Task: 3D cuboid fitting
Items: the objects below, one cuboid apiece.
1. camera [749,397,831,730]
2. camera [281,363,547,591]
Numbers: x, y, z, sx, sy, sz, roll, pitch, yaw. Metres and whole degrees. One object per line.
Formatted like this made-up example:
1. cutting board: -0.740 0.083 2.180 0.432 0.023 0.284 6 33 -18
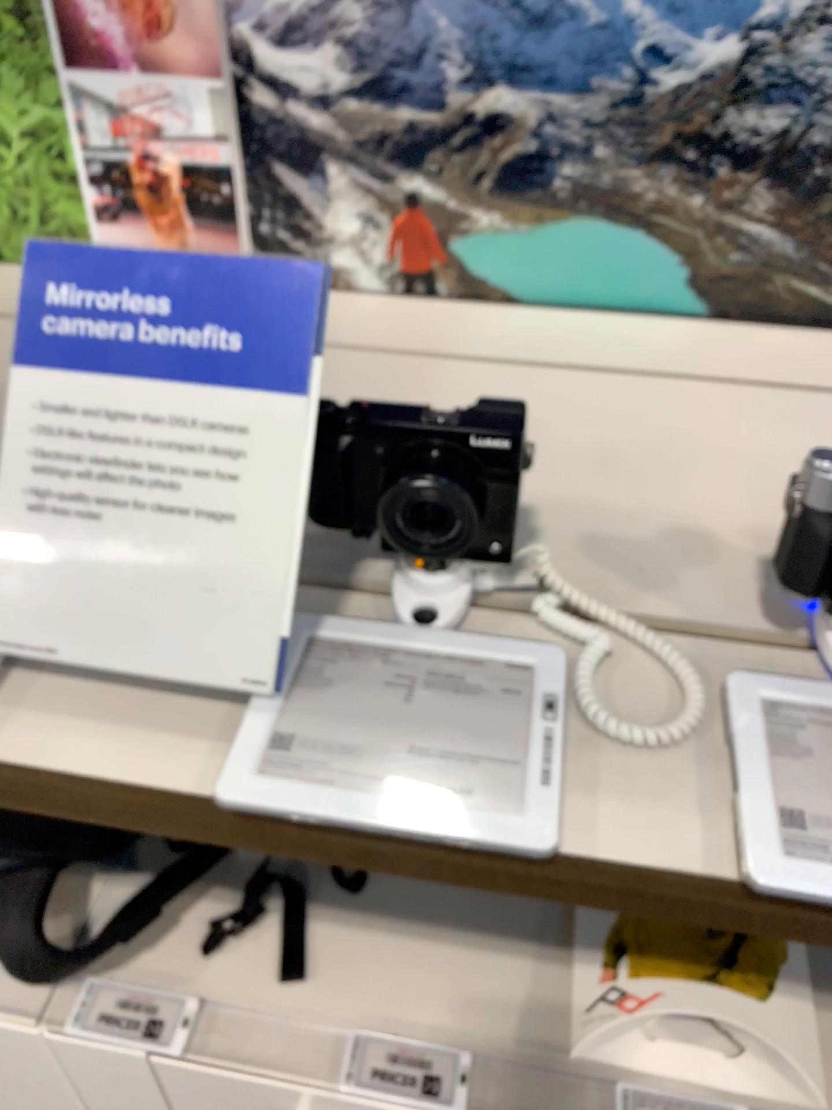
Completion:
1. camera: 0.231 -0.001 0.396 0.120 0.080 0.121 6 40 7
2. camera: 0.002 -0.042 0.451 0.120 0.080 0.070 7 40 7
